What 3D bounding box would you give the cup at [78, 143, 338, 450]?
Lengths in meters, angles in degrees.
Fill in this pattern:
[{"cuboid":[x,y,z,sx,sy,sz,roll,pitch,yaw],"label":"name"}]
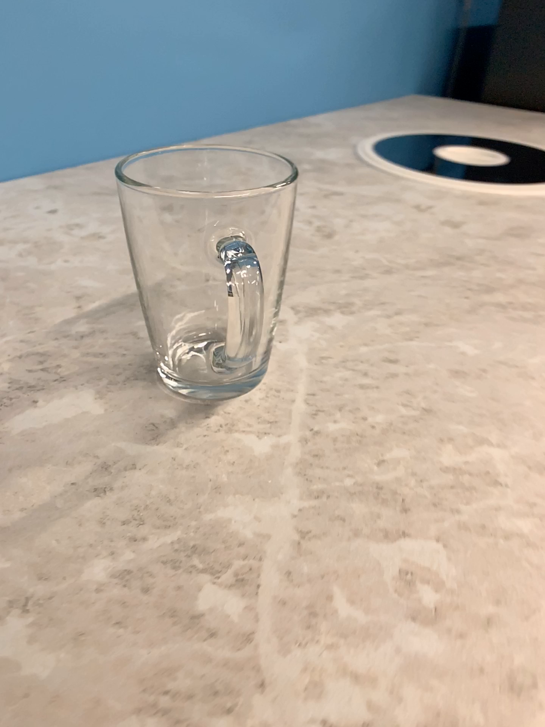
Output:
[{"cuboid":[-0.033,-0.040,0.268,0.089,0.097,0.116,-5,34,-11],"label":"cup"}]
